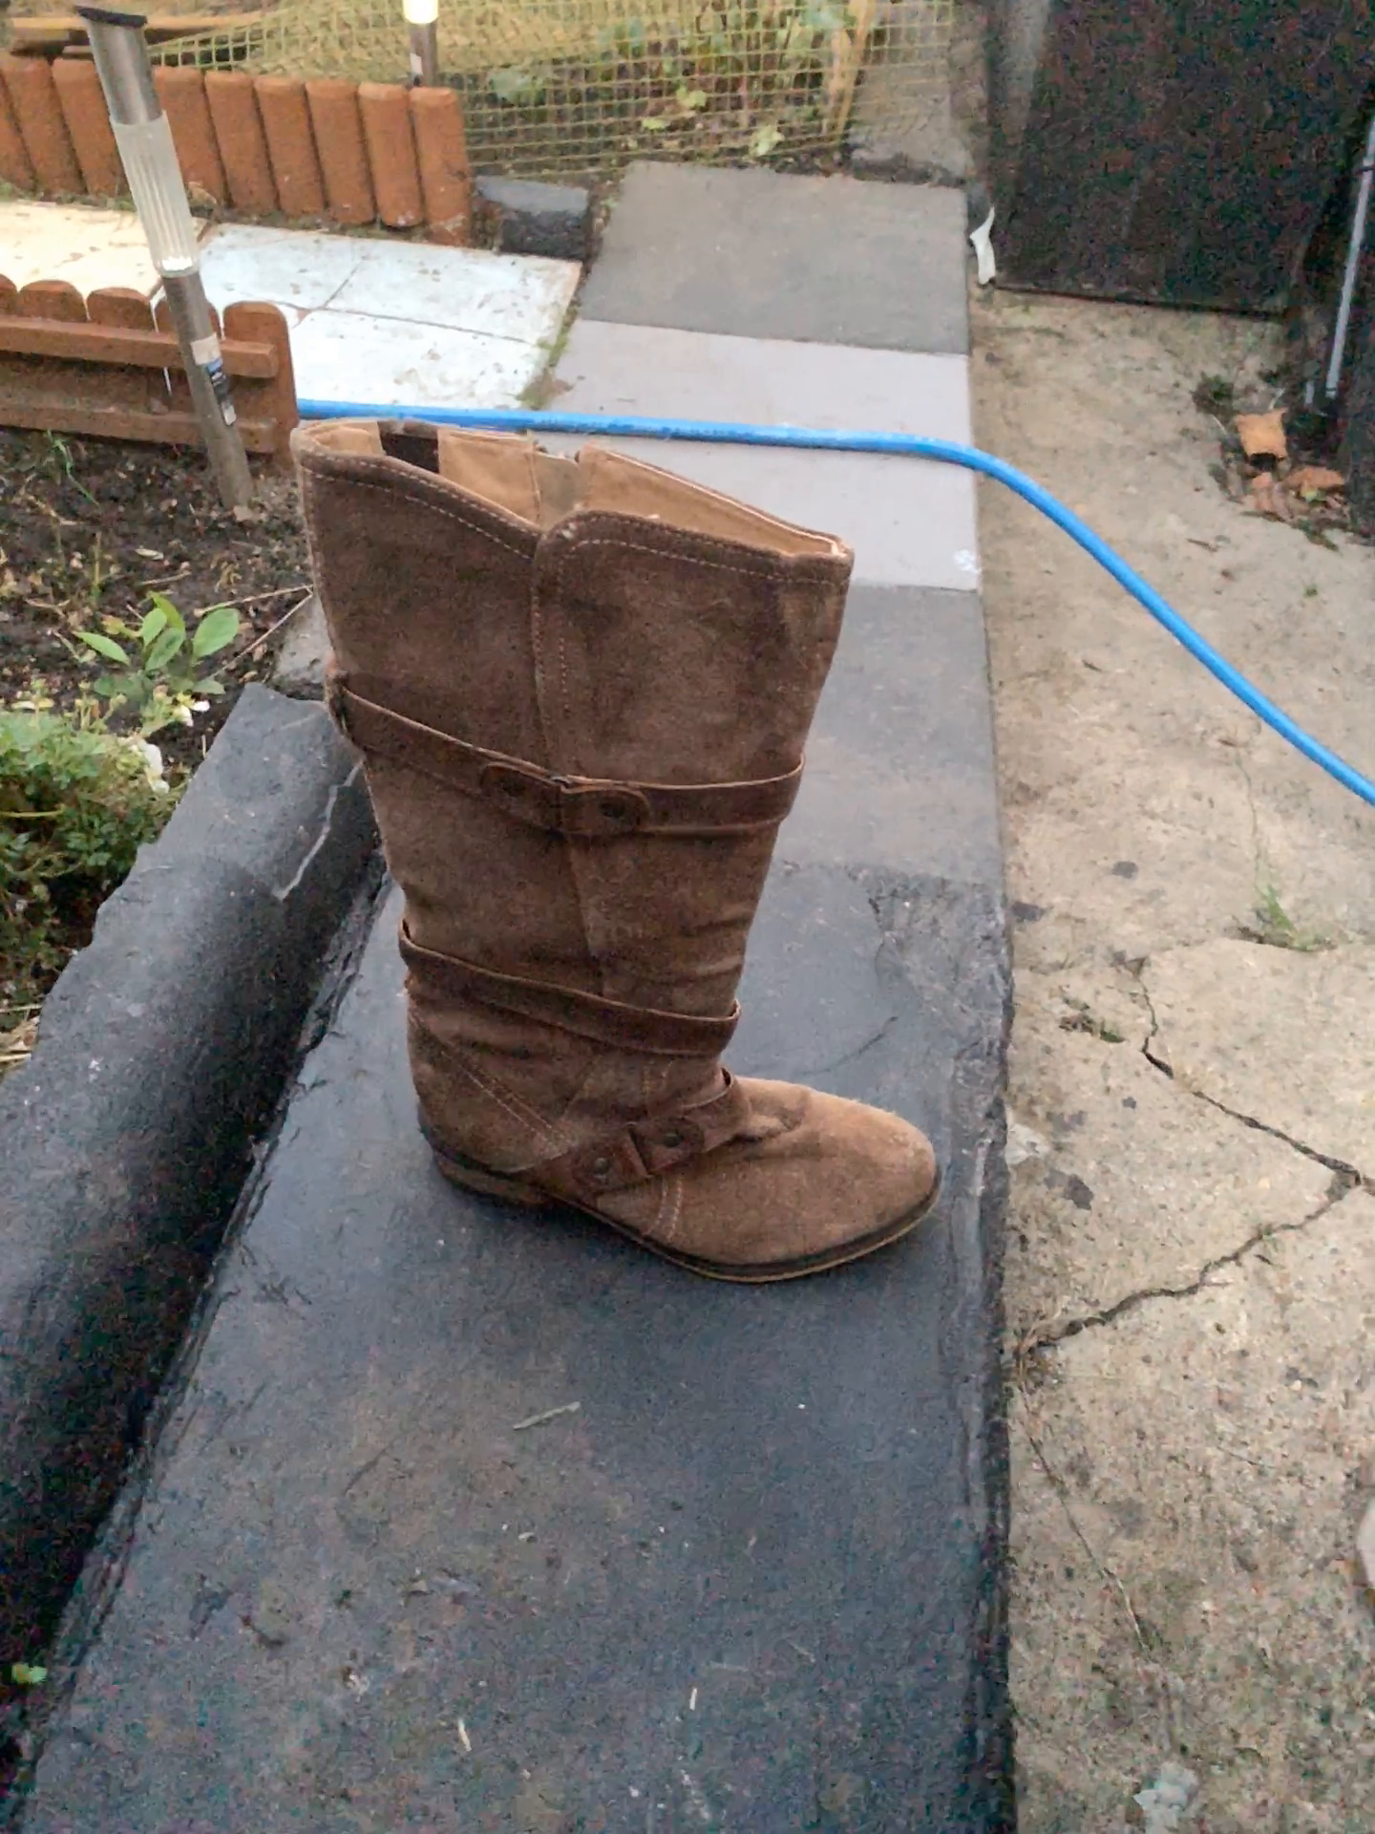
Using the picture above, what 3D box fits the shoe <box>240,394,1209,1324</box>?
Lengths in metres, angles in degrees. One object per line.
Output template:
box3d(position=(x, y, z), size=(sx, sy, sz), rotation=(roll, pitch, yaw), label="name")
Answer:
box3d(position=(0.005, 0.009, 0.560), size=(0.270, 0.376, 0.101), rotation=(8, 47, 3), label="shoe")
